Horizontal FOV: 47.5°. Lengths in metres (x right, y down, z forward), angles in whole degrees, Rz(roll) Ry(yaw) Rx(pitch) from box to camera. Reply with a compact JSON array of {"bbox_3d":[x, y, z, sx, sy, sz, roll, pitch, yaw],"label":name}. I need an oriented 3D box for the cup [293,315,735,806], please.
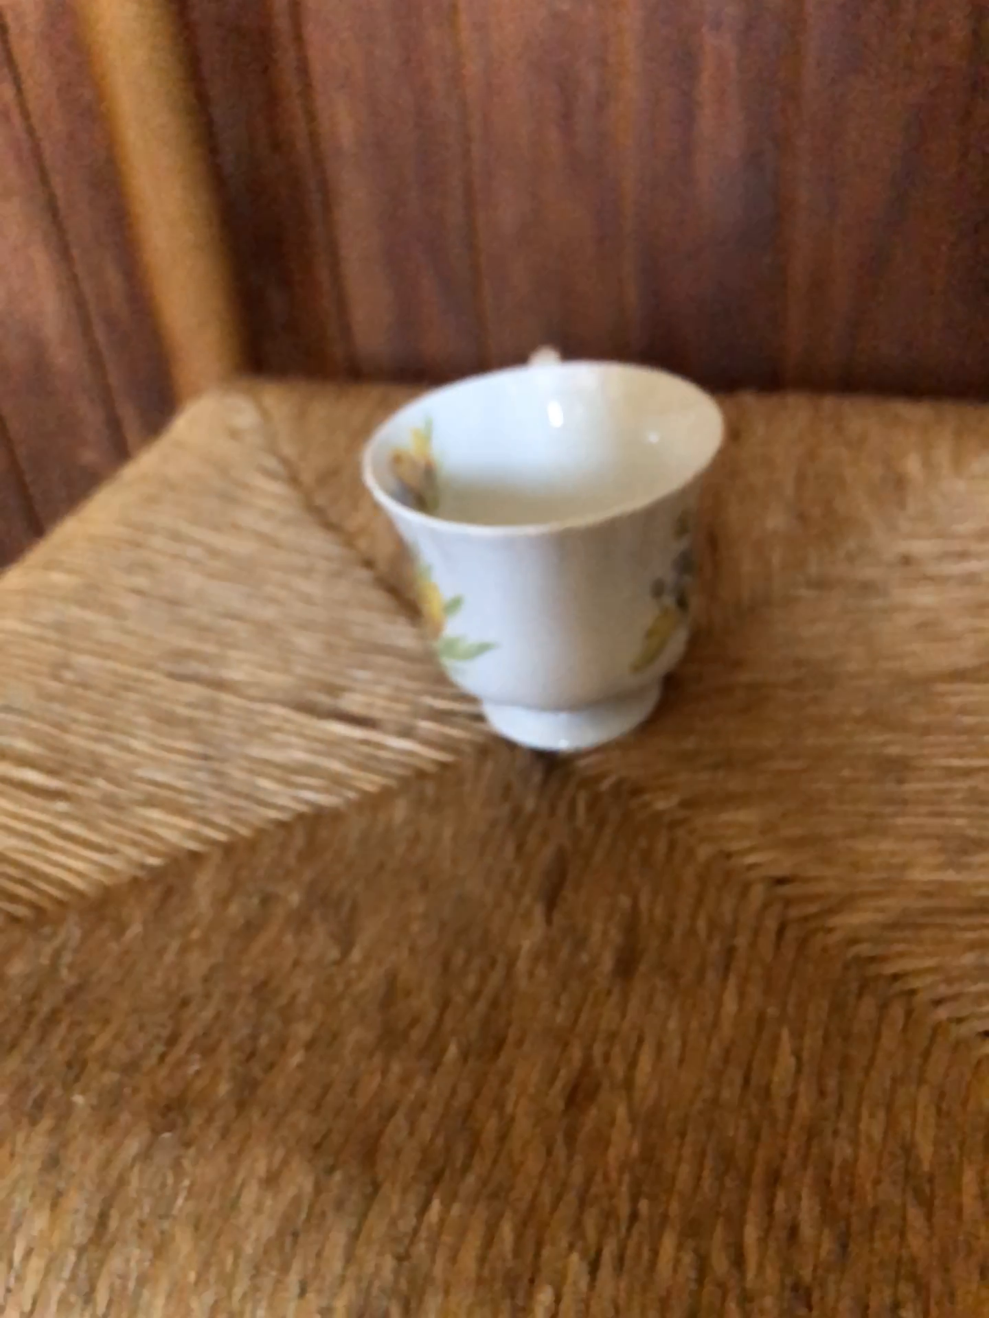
[{"bbox_3d":[0.009,-0.033,0.301,0.090,0.070,0.131,-3,35,5],"label":"cup"}]
